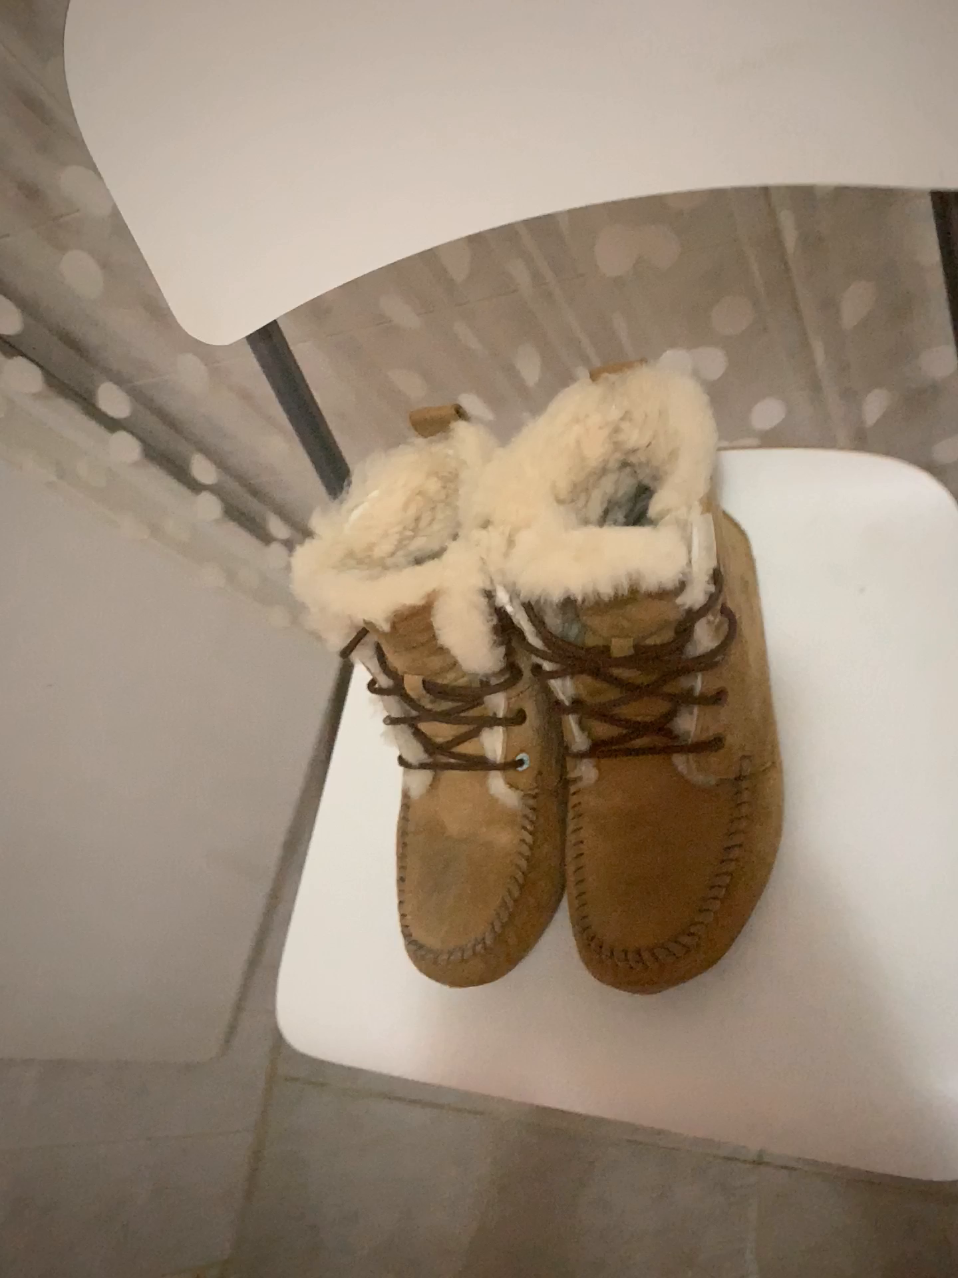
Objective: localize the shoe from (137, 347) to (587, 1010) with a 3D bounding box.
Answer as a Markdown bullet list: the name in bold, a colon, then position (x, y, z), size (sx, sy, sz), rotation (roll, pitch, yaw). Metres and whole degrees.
- **shoe**: position (-0.034, 0.028, 0.449), size (0.106, 0.155, 0.252), rotation (-6, 66, 26)

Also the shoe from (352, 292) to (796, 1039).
- **shoe**: position (0.055, 0.022, 0.404), size (0.114, 0.157, 0.252), rotation (-6, 66, 26)
